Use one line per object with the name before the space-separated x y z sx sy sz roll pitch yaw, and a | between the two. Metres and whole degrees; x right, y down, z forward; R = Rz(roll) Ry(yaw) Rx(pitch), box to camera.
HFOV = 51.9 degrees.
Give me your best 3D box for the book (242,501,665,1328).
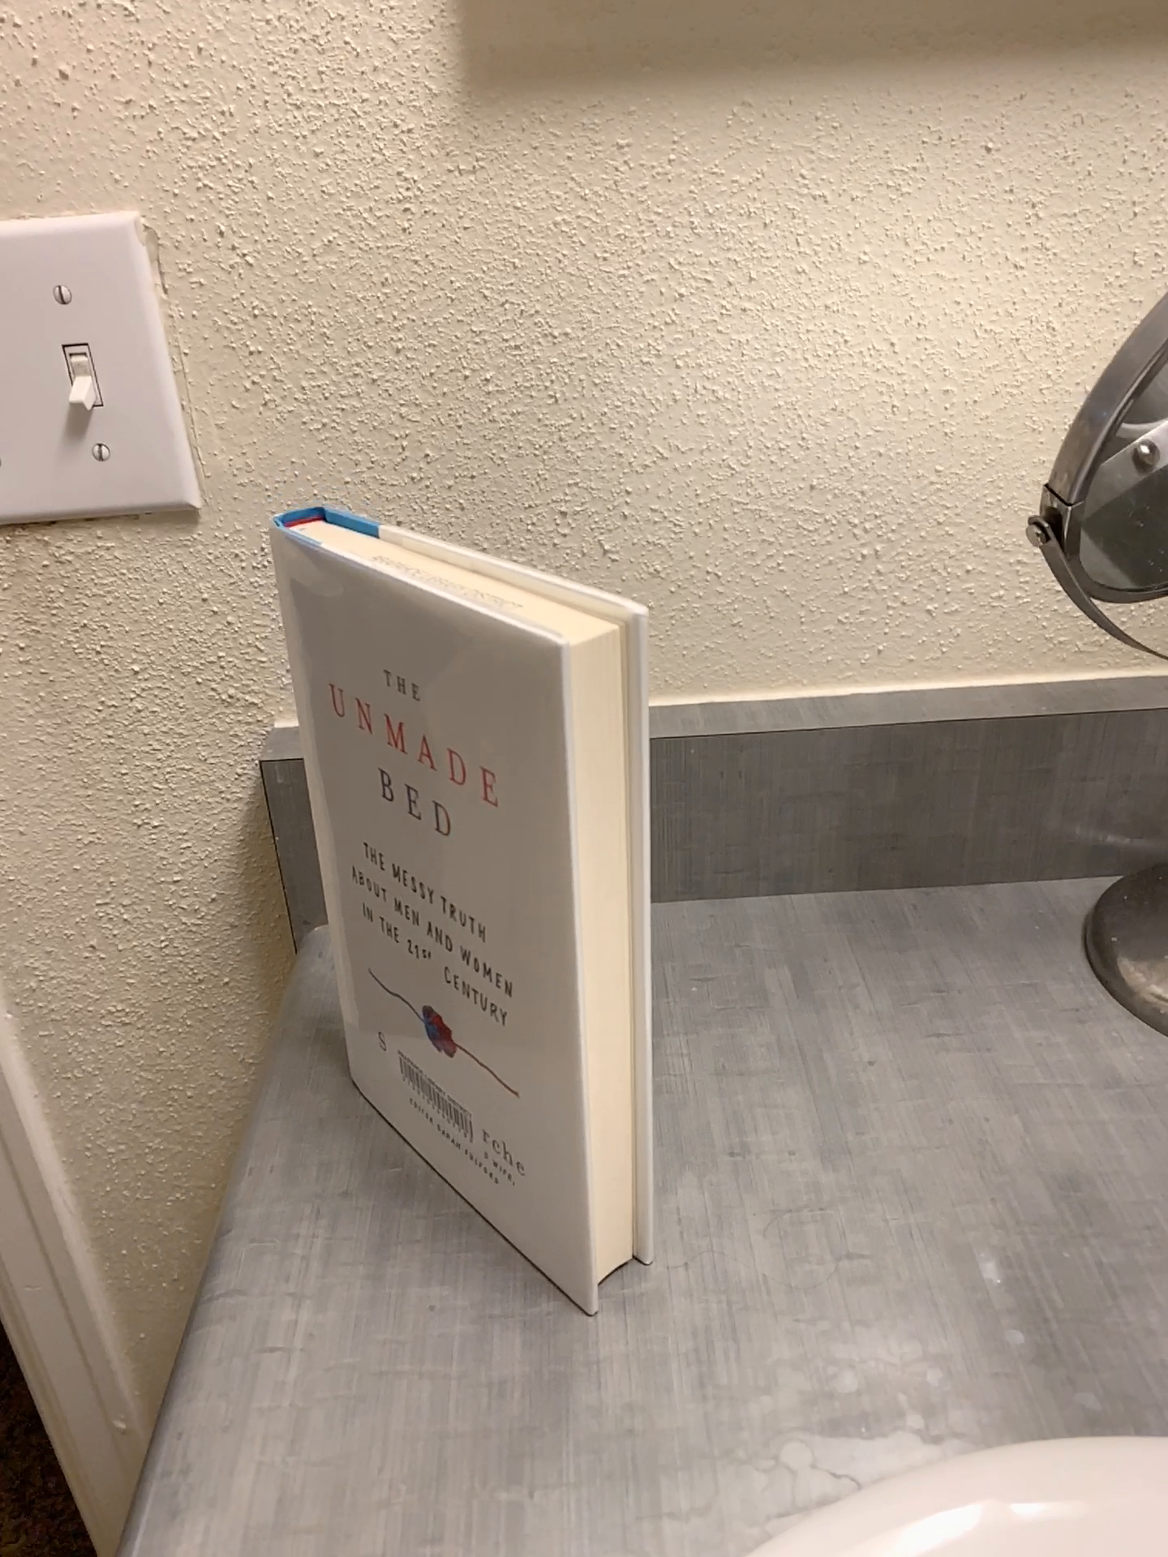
book | -0.040 0.037 0.370 0.033 0.214 0.152 -22 32 -34
